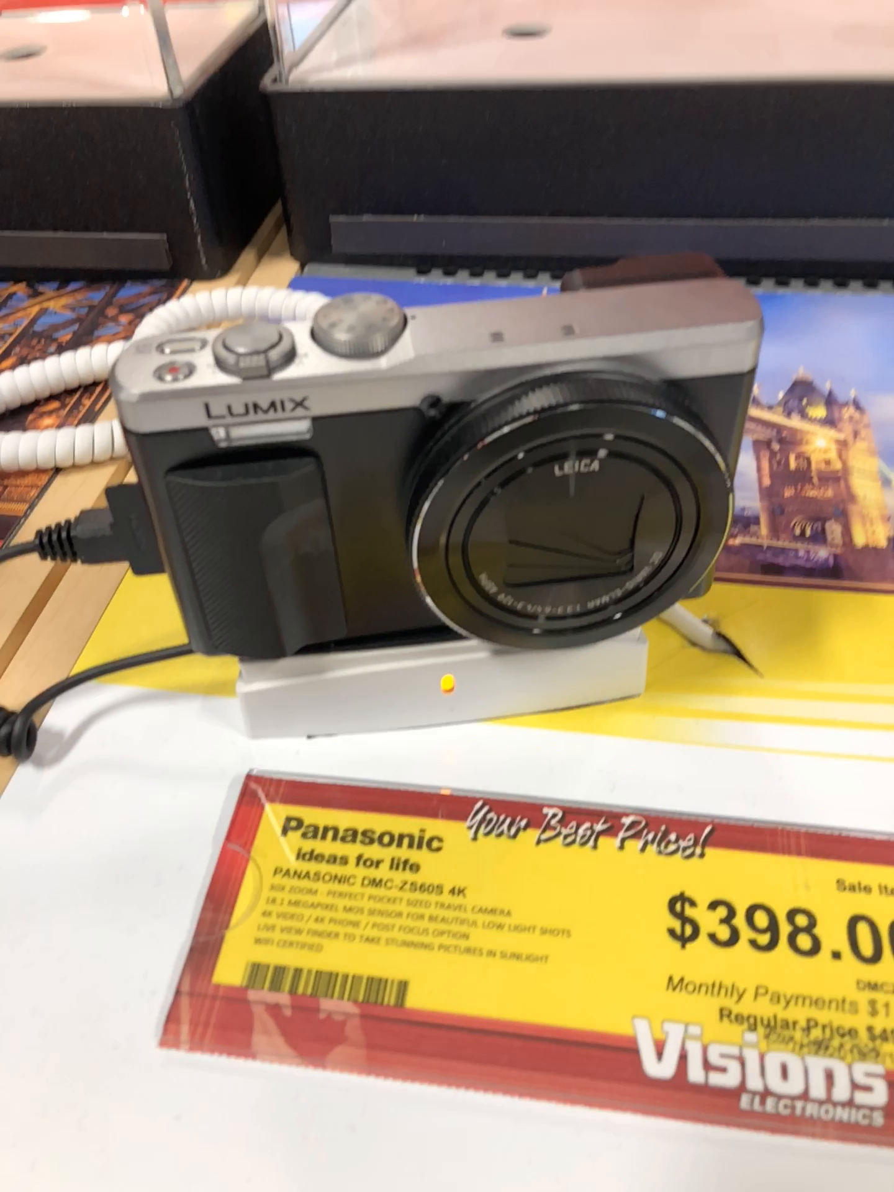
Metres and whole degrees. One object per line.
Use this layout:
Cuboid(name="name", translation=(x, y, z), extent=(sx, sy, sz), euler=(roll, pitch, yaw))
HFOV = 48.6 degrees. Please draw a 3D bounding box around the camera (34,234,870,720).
Cuboid(name="camera", translation=(0.001, -0.020, 0.176), extent=(0.120, 0.060, 0.040), euler=(-7, 44, -2))
